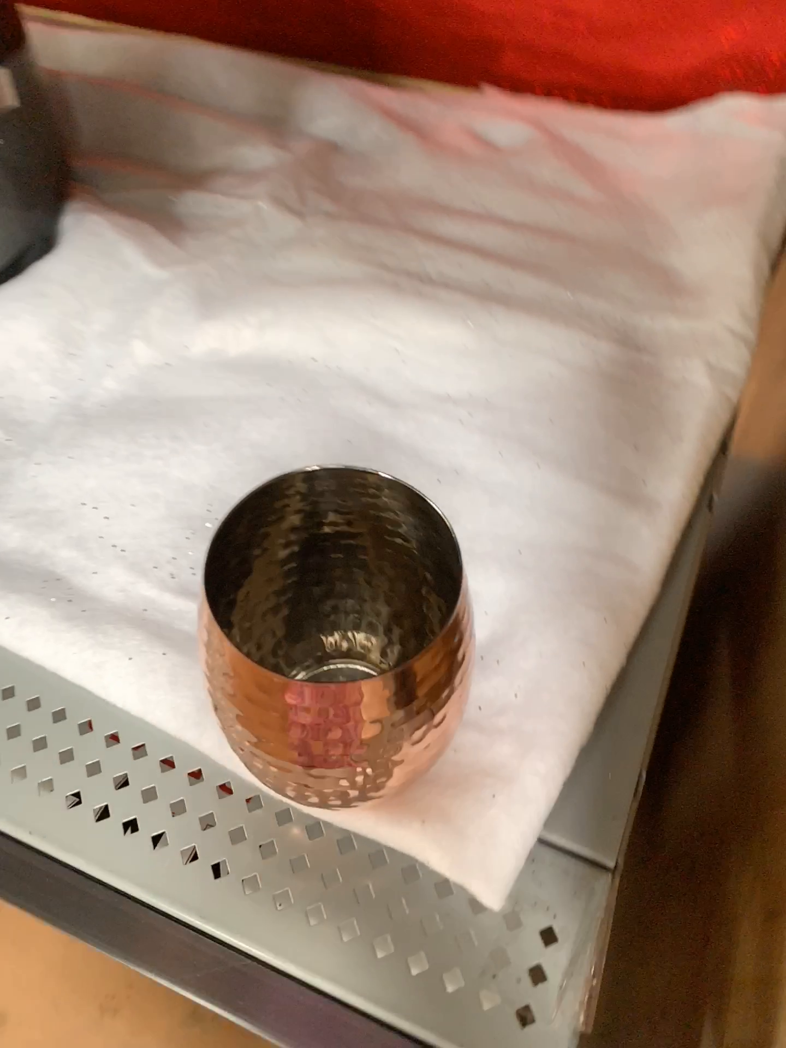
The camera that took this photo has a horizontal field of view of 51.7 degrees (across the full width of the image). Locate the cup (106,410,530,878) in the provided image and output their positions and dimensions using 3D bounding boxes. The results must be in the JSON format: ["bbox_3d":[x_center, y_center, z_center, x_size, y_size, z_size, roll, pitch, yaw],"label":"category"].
[{"bbox_3d":[-0.016,0.040,0.250,0.078,0.104,0.080,-1,55,1],"label":"cup"}]
